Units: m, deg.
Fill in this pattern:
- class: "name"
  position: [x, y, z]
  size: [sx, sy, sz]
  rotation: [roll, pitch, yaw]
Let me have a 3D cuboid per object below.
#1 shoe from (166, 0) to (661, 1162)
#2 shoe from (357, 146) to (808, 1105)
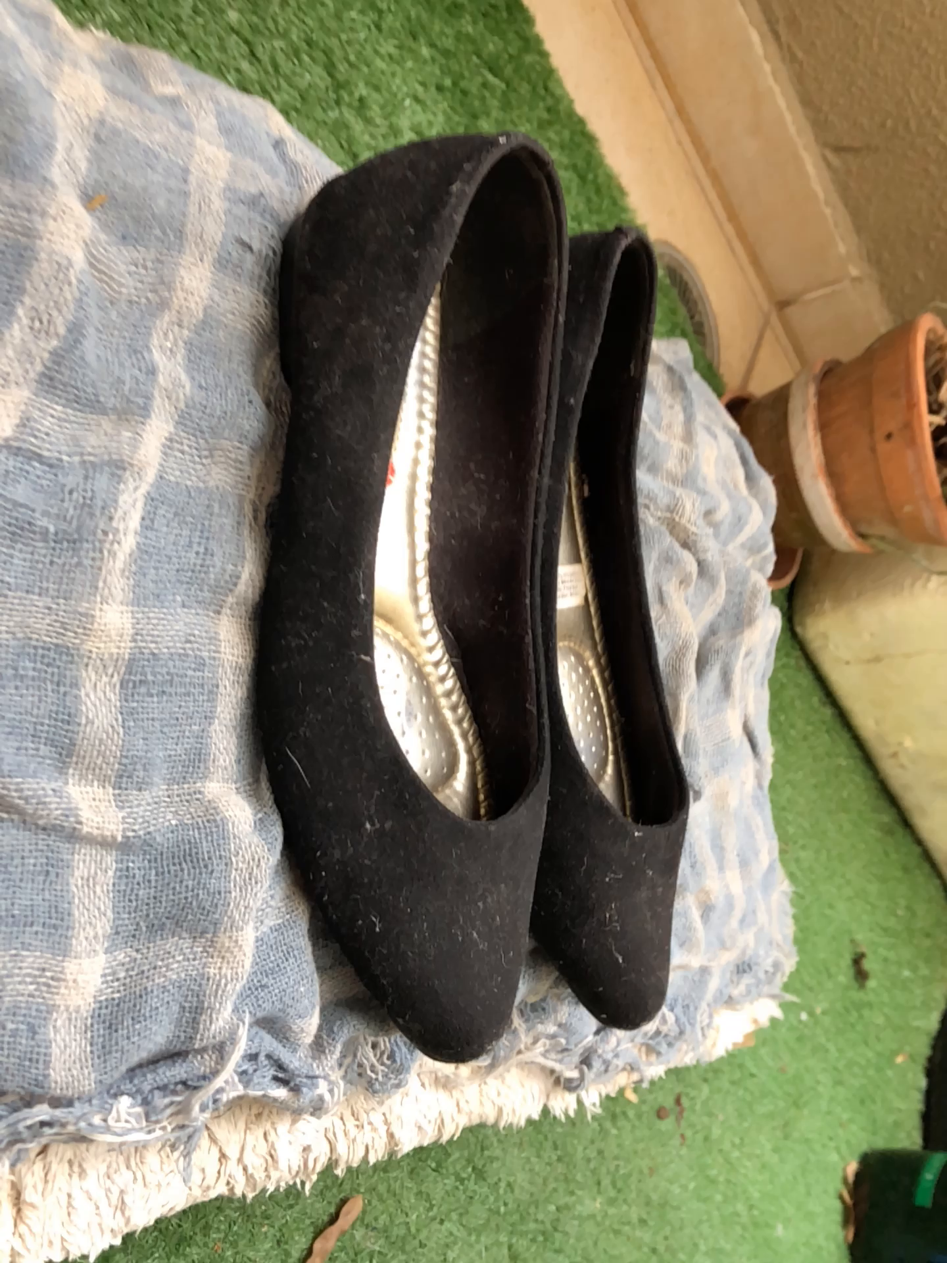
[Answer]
- class: "shoe"
  position: [-0.018, -0.014, 0.298]
  size: [0.091, 0.079, 0.270]
  rotation: [1, 83, -49]
- class: "shoe"
  position: [0.037, -0.002, 0.353]
  size: [0.091, 0.079, 0.270]
  rotation: [-5, 87, -49]
